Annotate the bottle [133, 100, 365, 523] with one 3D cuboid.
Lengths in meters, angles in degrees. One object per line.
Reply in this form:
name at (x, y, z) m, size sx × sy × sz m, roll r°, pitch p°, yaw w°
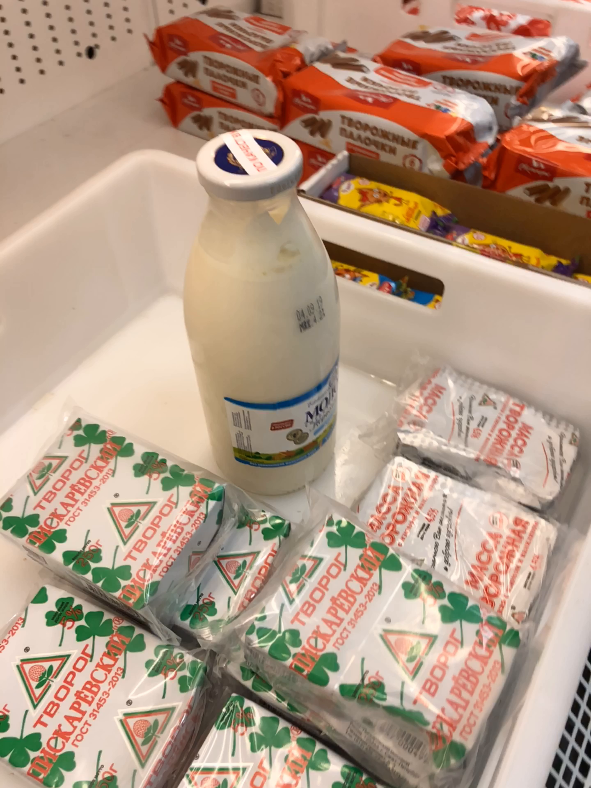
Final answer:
bottle at (-0.017, -0.030, 0.358) m, size 0.072 × 0.220 × 0.072 m, roll 0°, pitch 48°, yaw 0°
